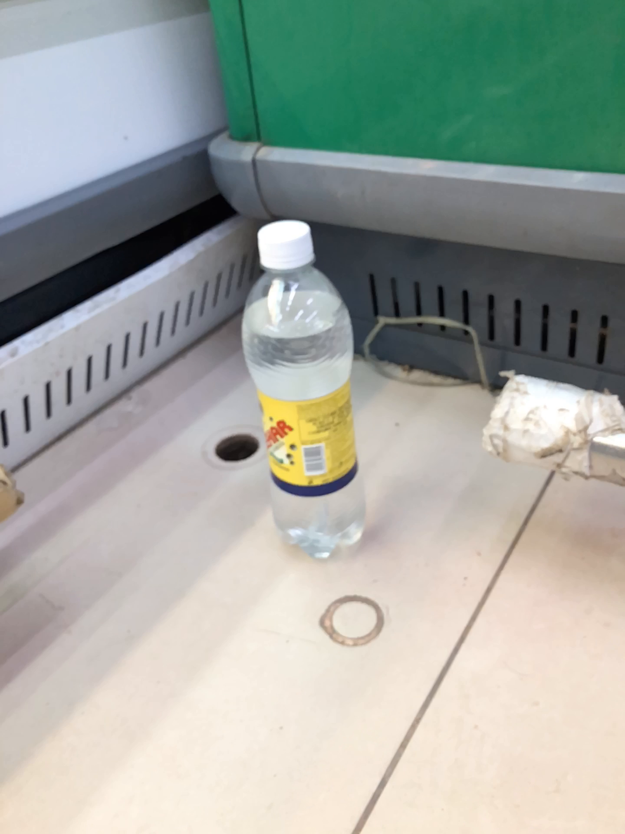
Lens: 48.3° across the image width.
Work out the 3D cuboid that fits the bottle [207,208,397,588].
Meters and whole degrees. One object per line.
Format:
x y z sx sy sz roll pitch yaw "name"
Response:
0.001 -0.006 0.453 0.070 0.229 0.070 -5 34 3 "bottle"
